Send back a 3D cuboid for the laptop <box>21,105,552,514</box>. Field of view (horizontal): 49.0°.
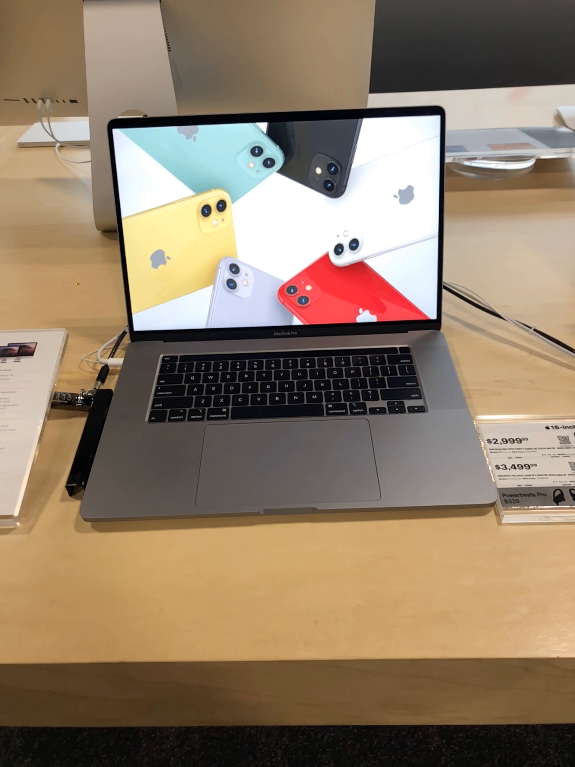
[{"bbox_3d":[-0.006,-0.088,0.594,0.335,0.204,0.350,-2,42,3],"label":"laptop"}]
